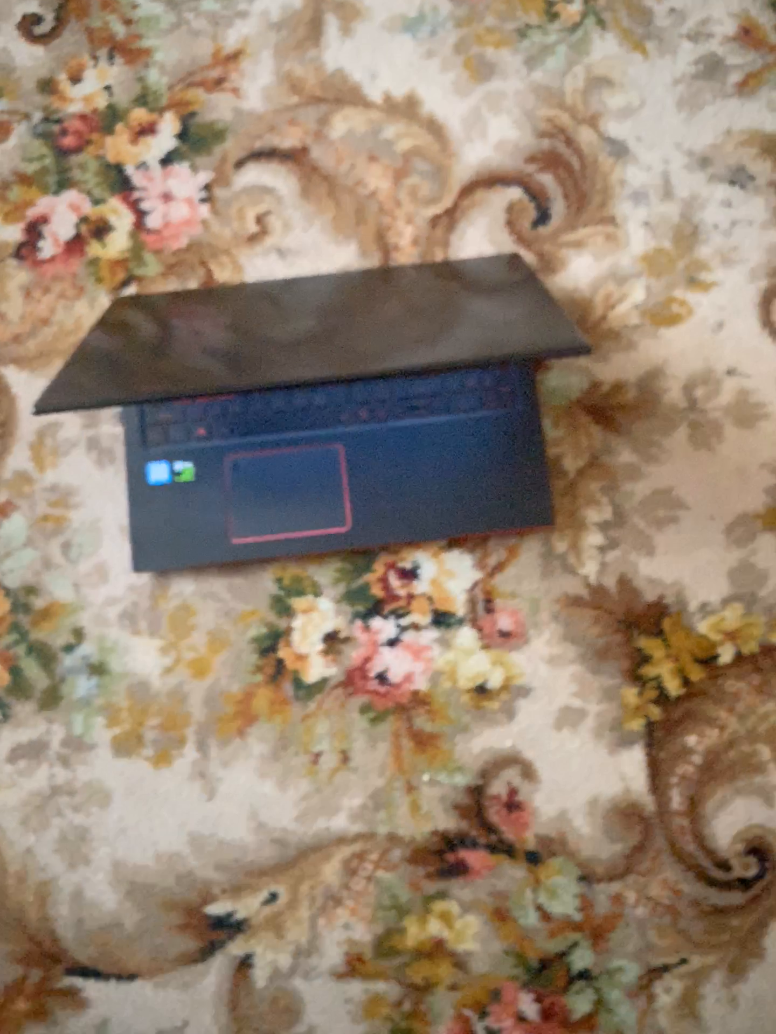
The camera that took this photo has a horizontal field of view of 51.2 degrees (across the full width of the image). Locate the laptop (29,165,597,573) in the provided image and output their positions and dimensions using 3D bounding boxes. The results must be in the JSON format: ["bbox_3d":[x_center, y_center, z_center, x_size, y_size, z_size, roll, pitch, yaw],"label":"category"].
[{"bbox_3d":[-0.051,-0.094,0.619,0.356,0.173,0.224,-6,84,0],"label":"laptop"}]
